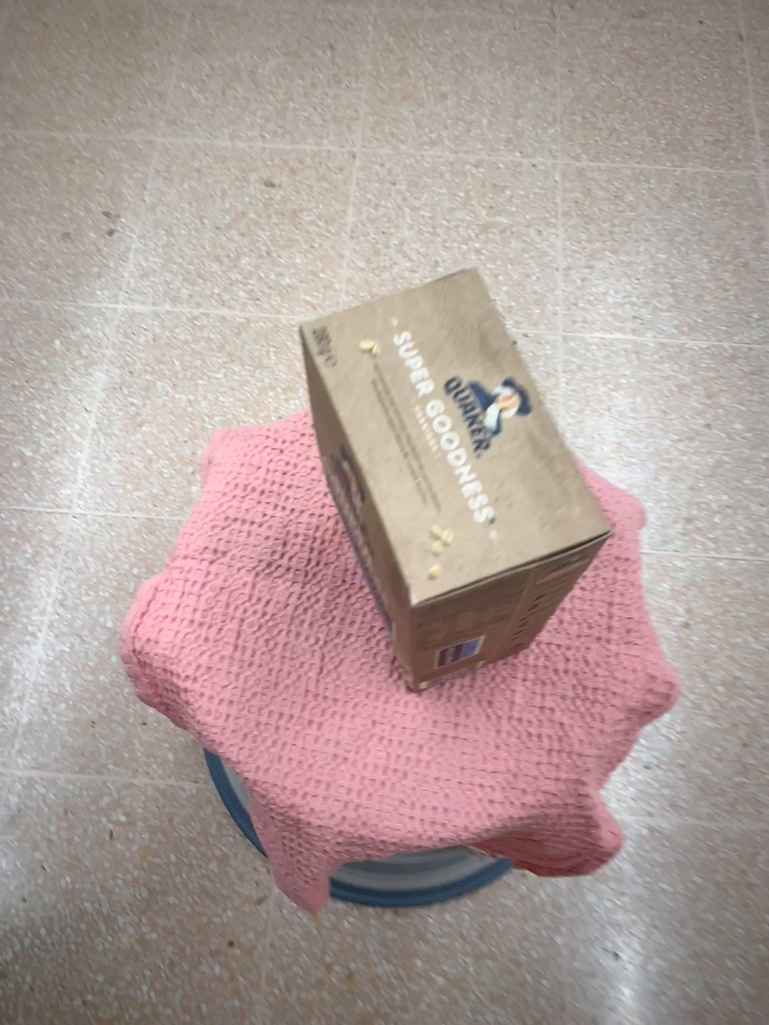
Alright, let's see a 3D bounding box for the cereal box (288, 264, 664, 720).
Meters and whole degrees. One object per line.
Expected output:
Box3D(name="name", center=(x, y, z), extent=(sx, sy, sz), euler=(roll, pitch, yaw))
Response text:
Box3D(name="cereal box", center=(0.033, 0.009, 0.405), extent=(0.100, 0.209, 0.140), euler=(-20, 69, -7))
